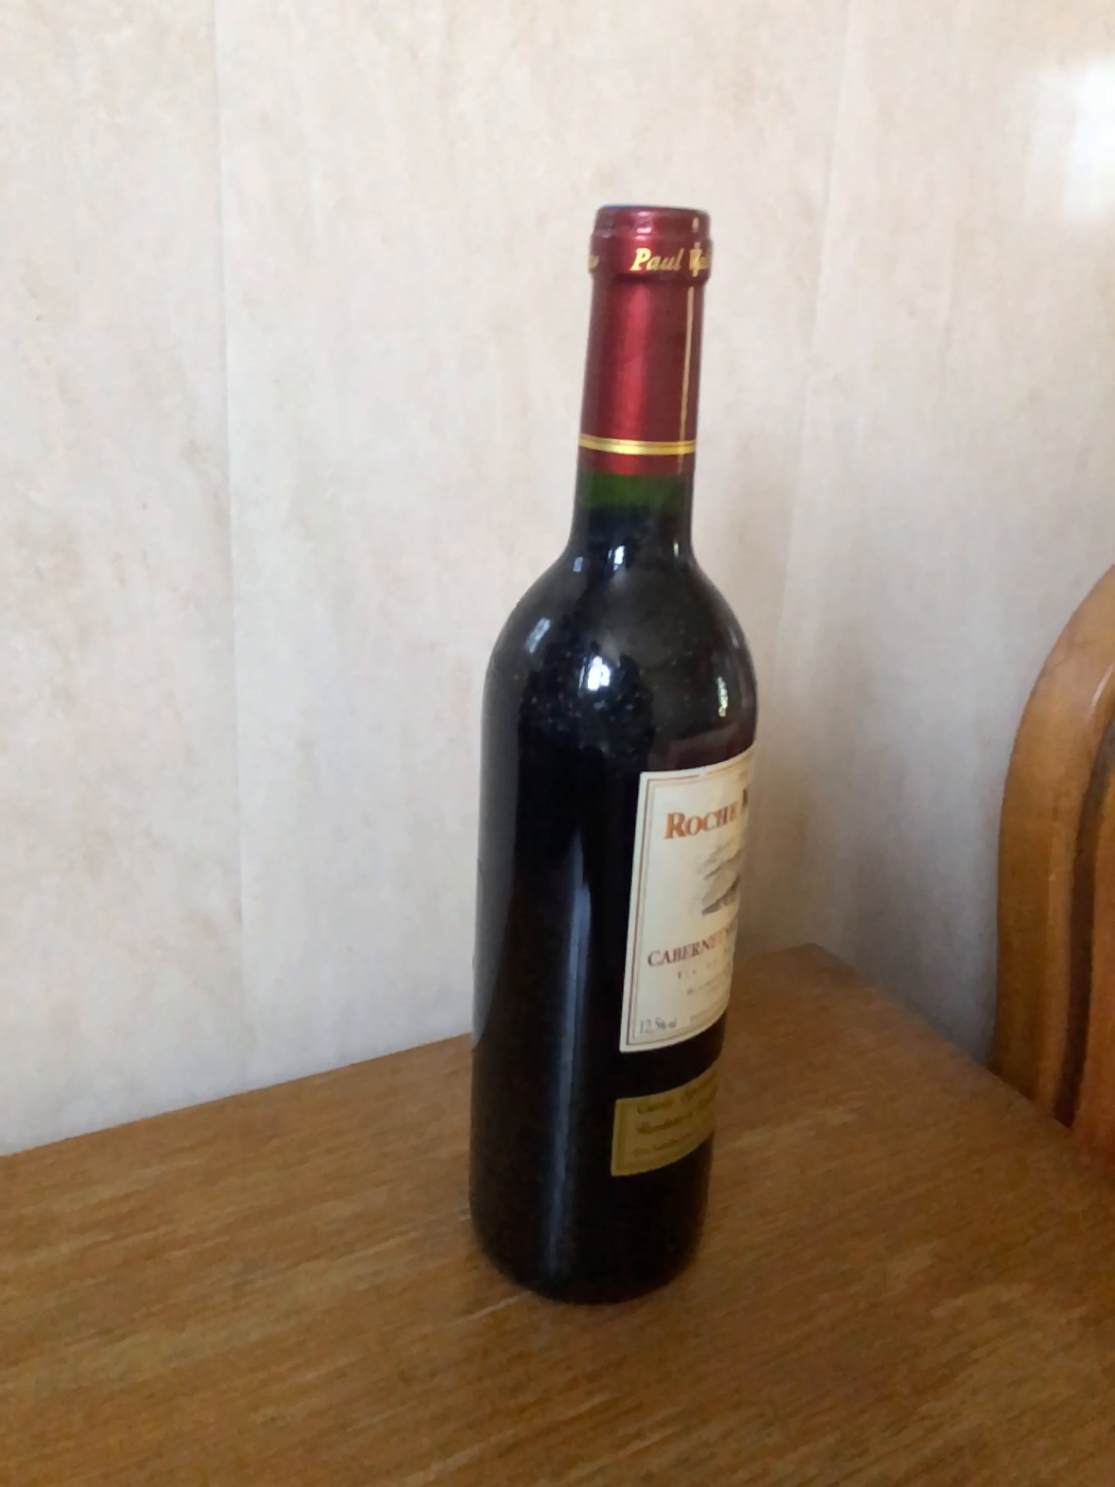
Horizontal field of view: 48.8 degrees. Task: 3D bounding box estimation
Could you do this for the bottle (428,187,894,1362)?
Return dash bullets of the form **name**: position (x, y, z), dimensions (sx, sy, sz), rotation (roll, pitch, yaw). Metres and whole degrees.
- **bottle**: position (0.023, 0.011, 0.345), dimensions (0.080, 0.299, 0.080), rotation (3, 19, -1)
